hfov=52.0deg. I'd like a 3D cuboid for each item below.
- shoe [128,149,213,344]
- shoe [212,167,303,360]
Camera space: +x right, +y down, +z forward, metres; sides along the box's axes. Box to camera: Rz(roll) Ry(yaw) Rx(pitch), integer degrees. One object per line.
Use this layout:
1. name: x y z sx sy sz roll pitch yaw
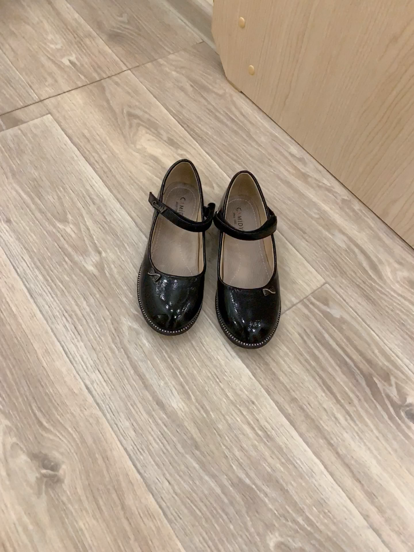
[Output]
1. shoe: -0.045 -0.044 0.592 0.090 0.100 0.251 4 61 -4
2. shoe: 0.059 -0.020 0.591 0.090 0.100 0.251 2 61 -5
